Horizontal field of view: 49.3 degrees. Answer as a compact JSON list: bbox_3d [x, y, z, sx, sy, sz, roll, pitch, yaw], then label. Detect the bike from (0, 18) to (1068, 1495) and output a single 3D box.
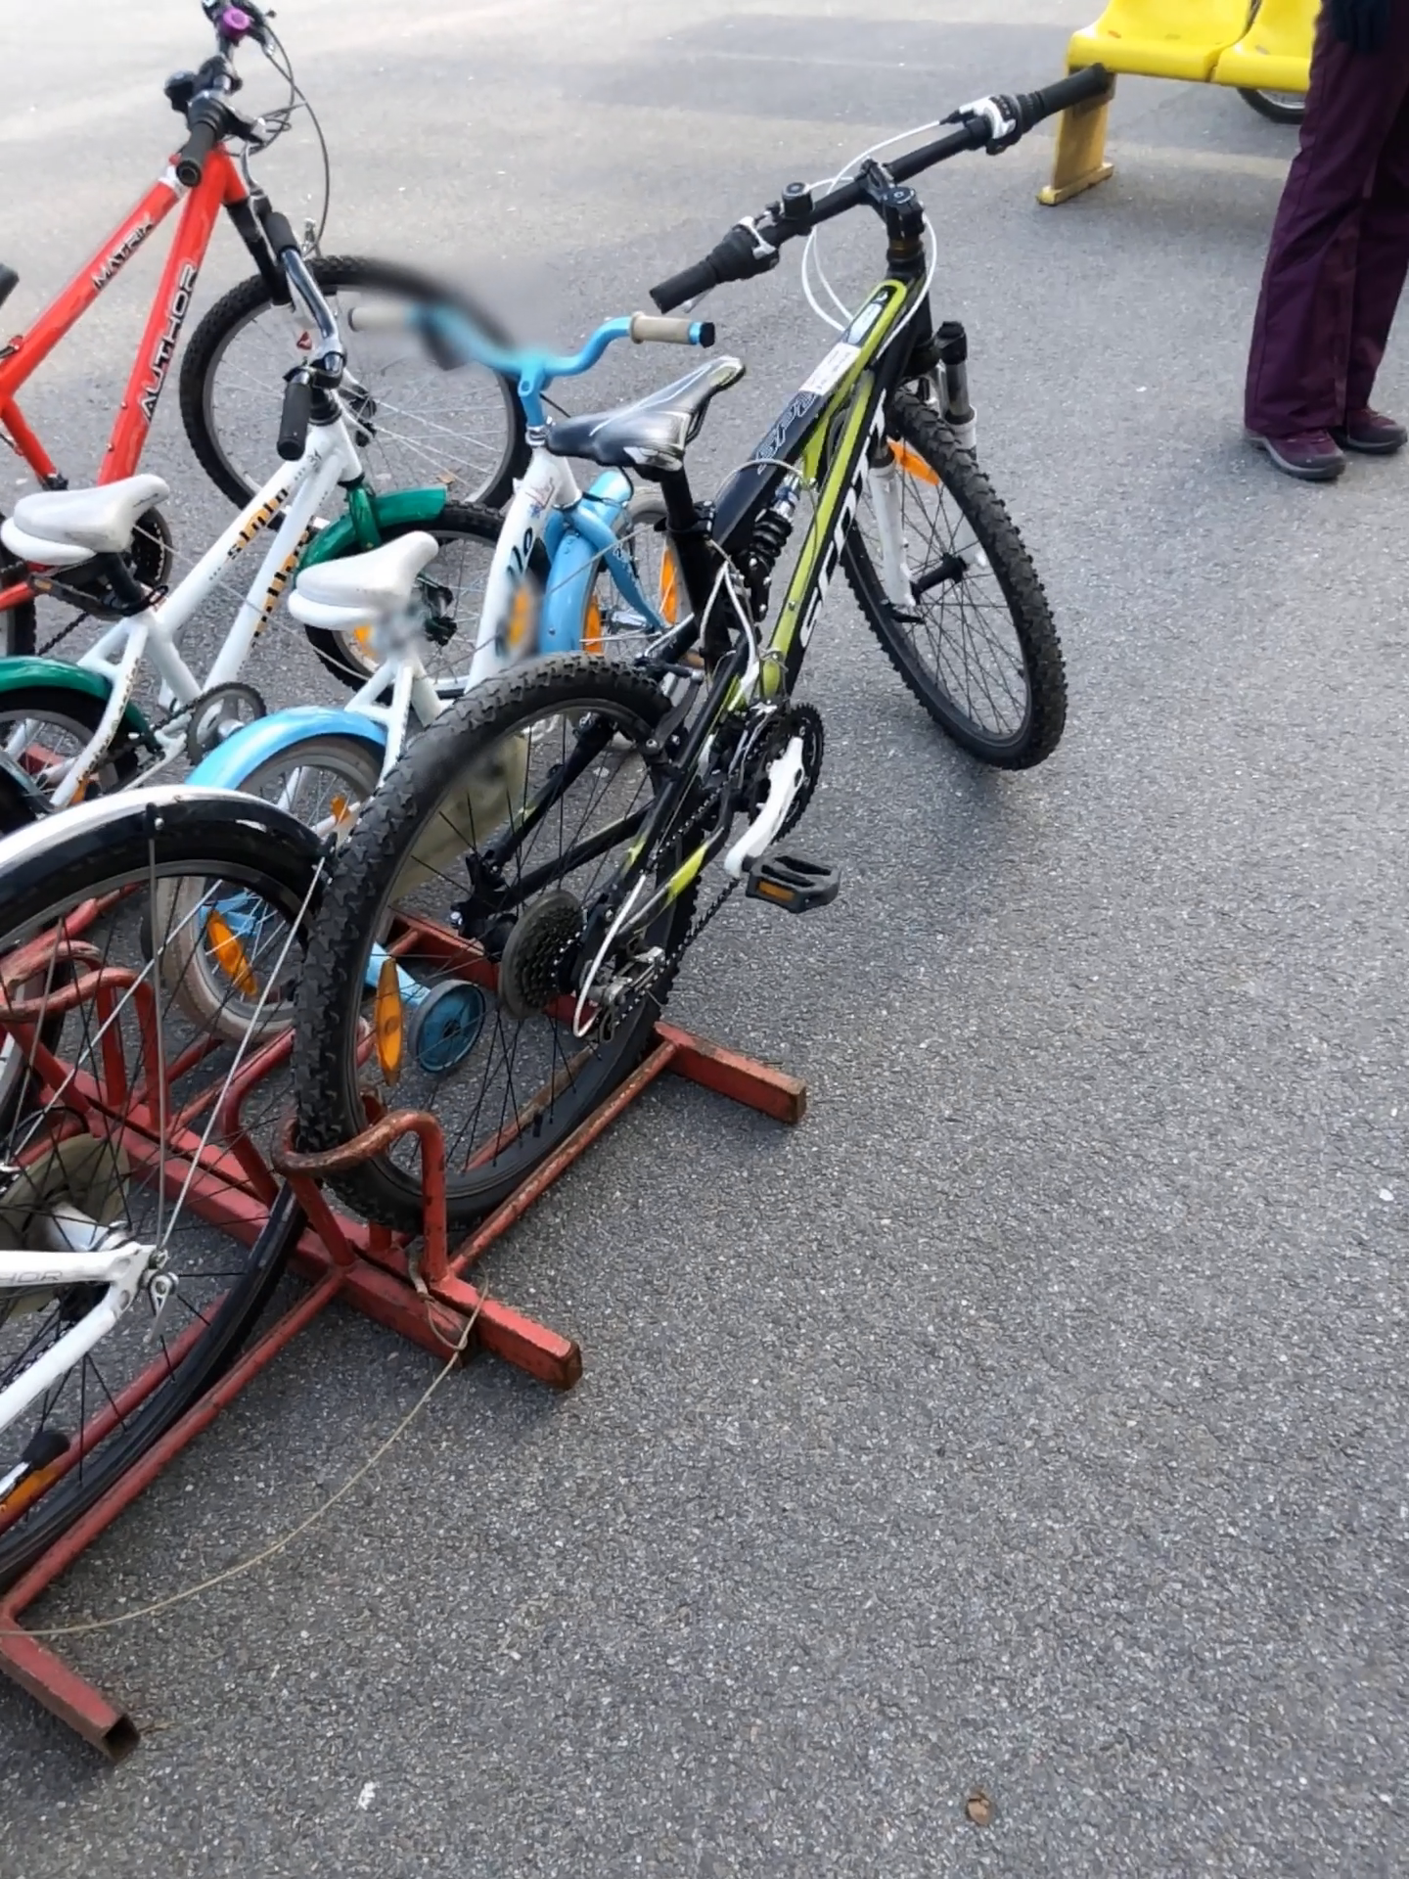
[{"bbox_3d":[-0.049,-0.358,1.685,0.528,0.901,1.379,13,42,20],"label":"bike"}]
